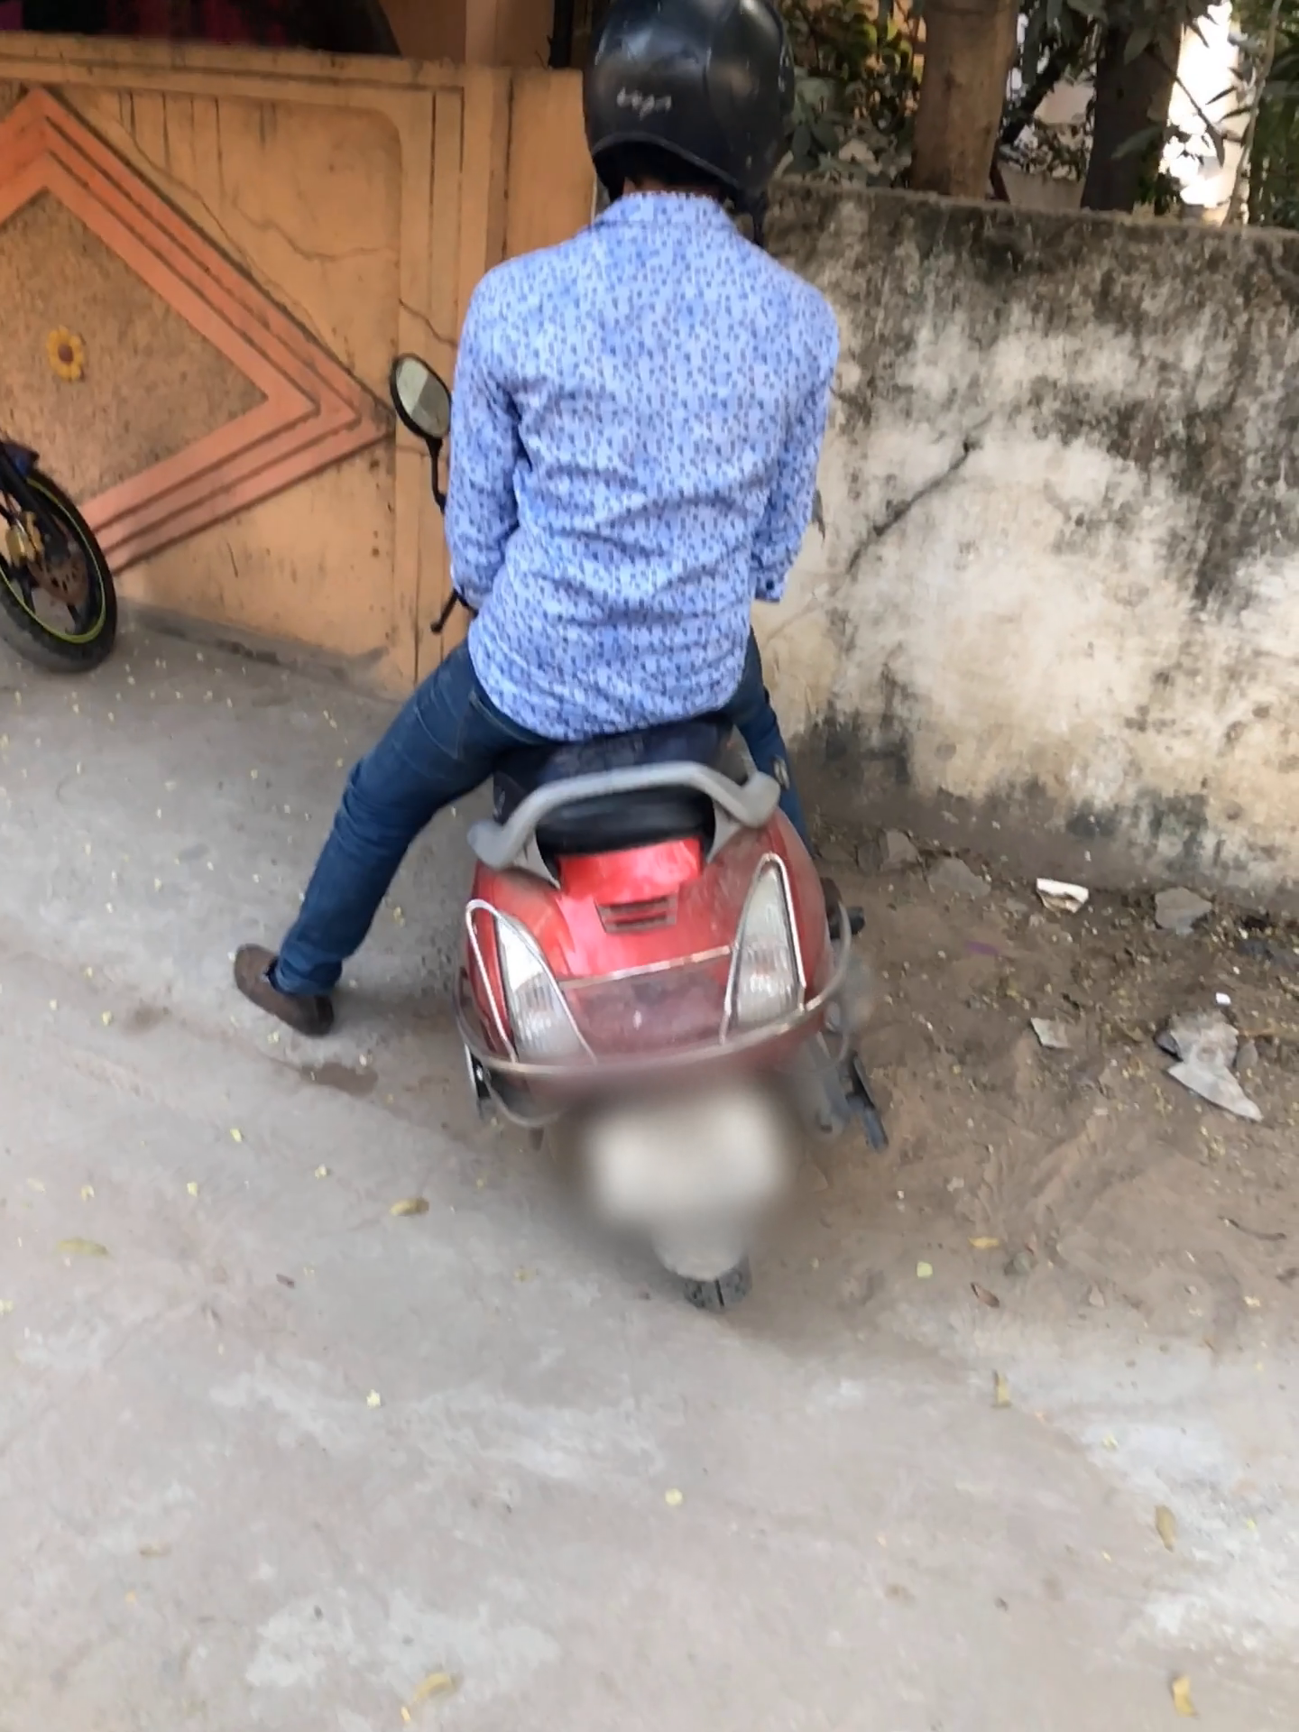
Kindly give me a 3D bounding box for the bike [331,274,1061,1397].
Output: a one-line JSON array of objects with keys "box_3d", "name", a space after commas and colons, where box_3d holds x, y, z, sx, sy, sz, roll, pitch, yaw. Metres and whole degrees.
[{"box_3d": [-0.137, -0.195, 2.306, 0.723, 1.165, 1.509, 0, 28, -13], "name": "bike"}]
